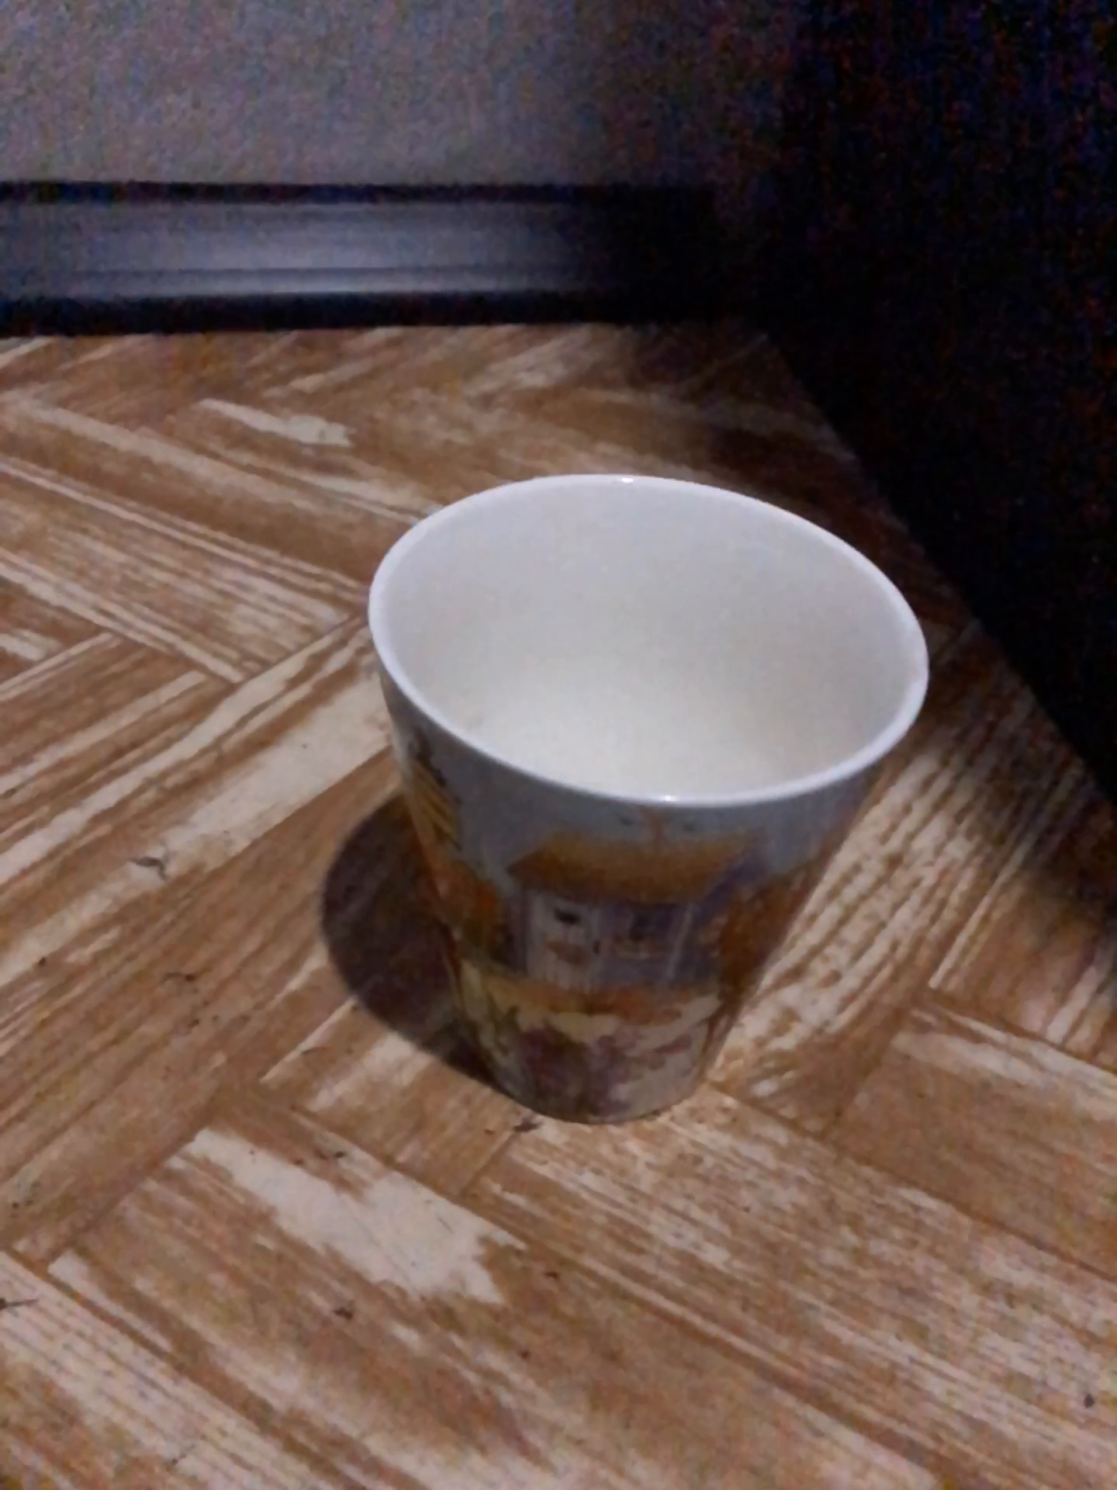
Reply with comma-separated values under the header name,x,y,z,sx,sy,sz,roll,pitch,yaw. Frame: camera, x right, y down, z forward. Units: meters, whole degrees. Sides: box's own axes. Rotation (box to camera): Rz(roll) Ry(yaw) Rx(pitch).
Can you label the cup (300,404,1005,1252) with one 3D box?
name,x,y,z,sx,sy,sz,roll,pitch,yaw
cup,0.003,0.008,0.223,0.079,0.090,0.112,-7,42,-14
